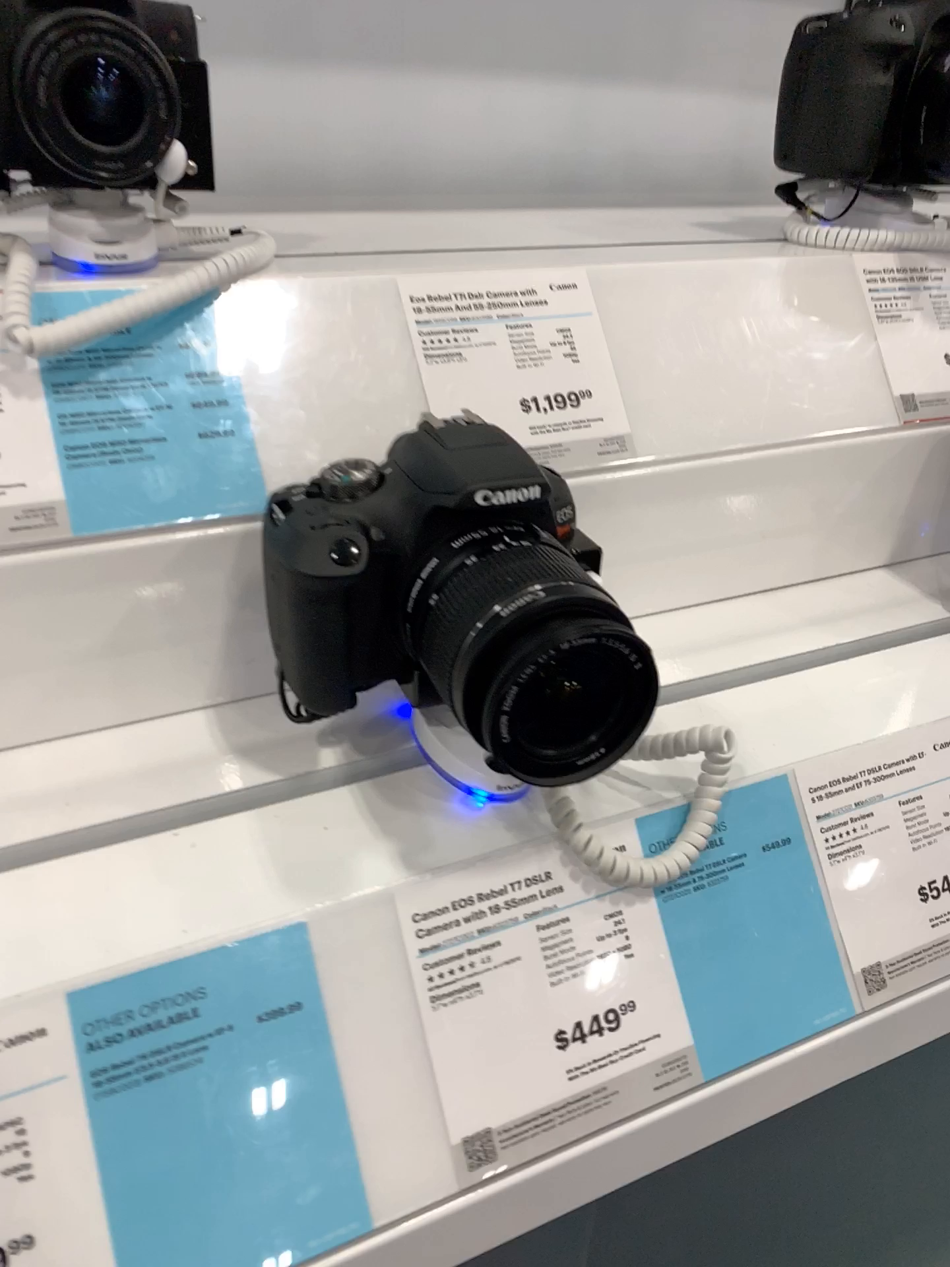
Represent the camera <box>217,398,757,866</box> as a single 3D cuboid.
[{"bbox_3d":[-0.005,-0.016,0.358,0.130,0.090,0.151,-13,33,-26],"label":"camera"}]
